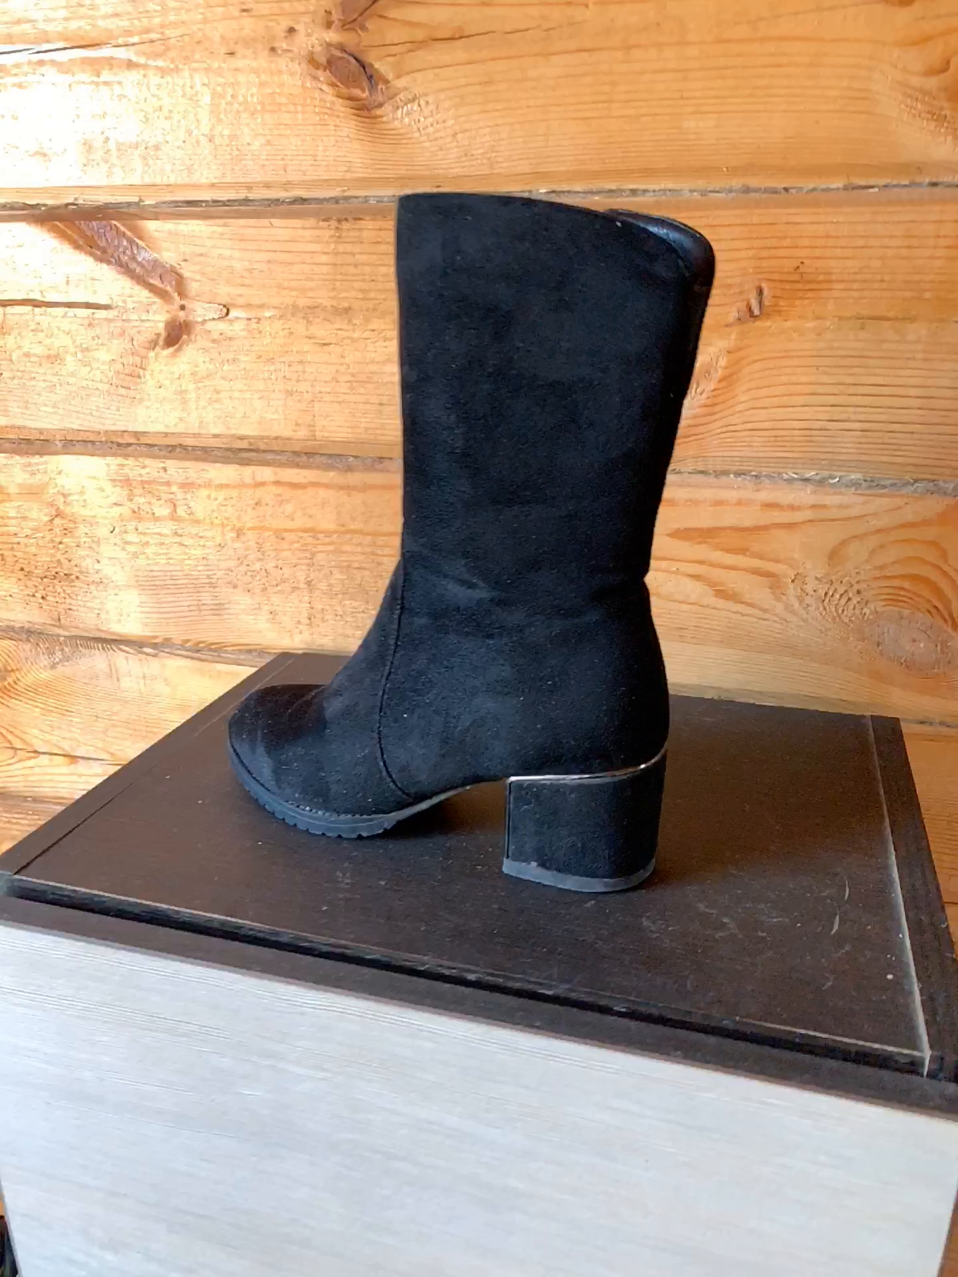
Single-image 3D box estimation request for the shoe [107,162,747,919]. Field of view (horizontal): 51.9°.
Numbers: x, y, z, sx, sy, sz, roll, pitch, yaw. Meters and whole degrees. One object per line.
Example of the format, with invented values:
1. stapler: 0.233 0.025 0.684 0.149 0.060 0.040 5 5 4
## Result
1. shoe: -0.021 -0.049 0.430 0.232 0.268 0.101 8 20 22
